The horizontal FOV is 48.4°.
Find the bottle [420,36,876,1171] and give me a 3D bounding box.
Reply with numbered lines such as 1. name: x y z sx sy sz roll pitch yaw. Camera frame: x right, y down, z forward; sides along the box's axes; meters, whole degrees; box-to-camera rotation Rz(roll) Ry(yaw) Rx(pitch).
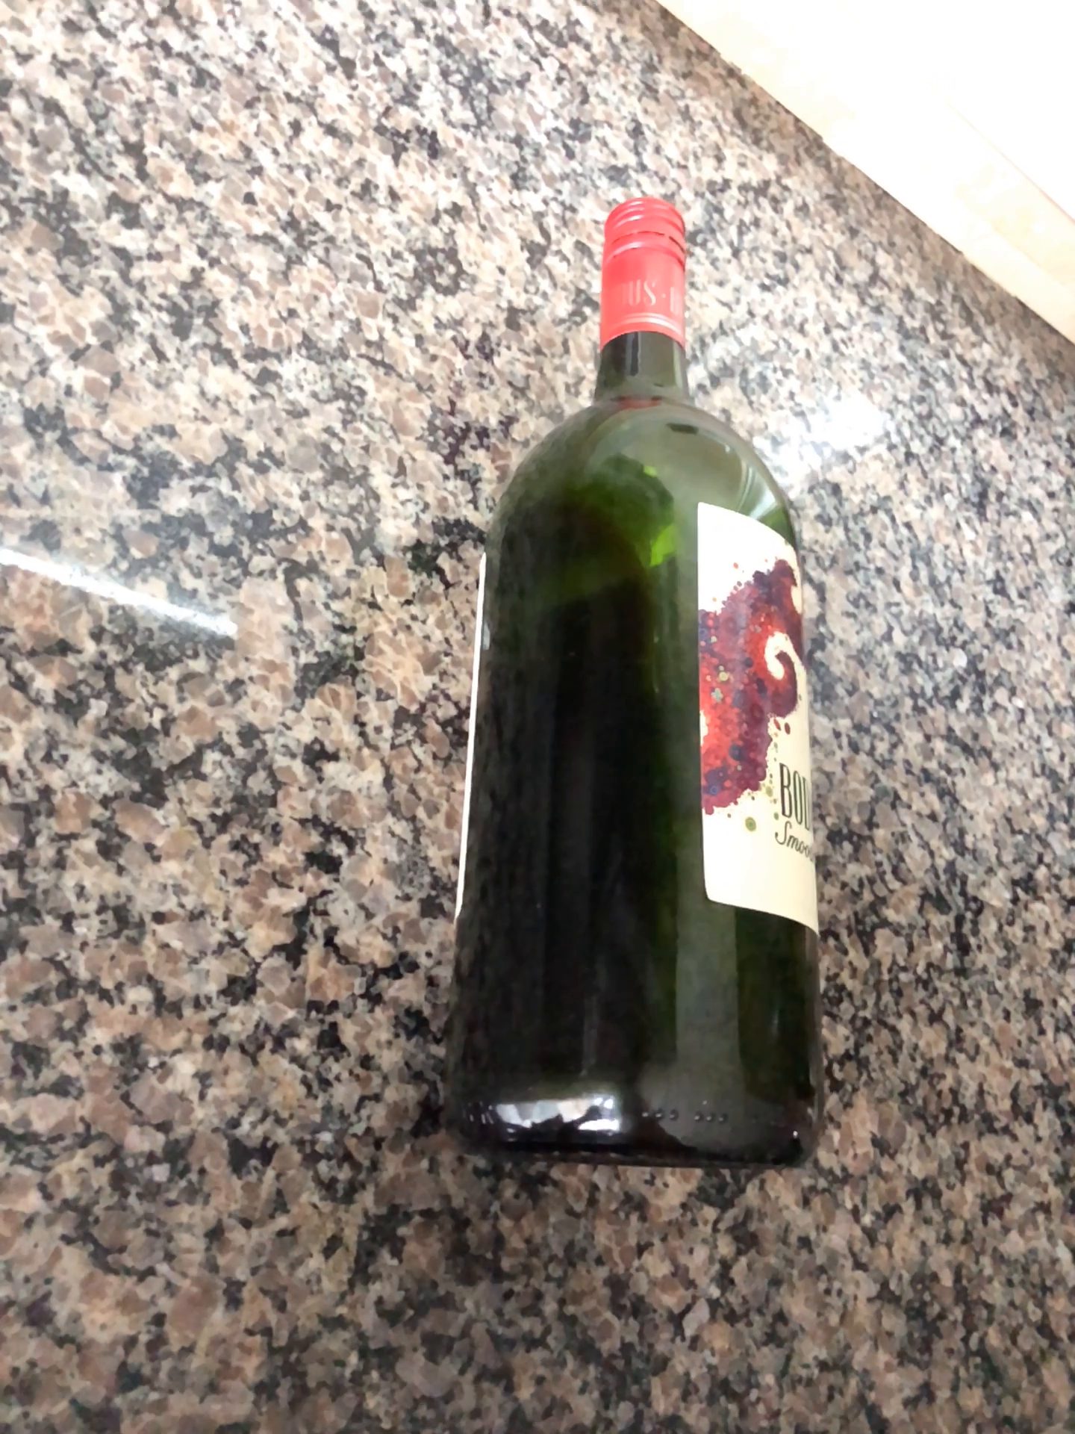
1. bottle: 0.031 -0.041 0.376 0.100 0.110 0.340 2 68 1
